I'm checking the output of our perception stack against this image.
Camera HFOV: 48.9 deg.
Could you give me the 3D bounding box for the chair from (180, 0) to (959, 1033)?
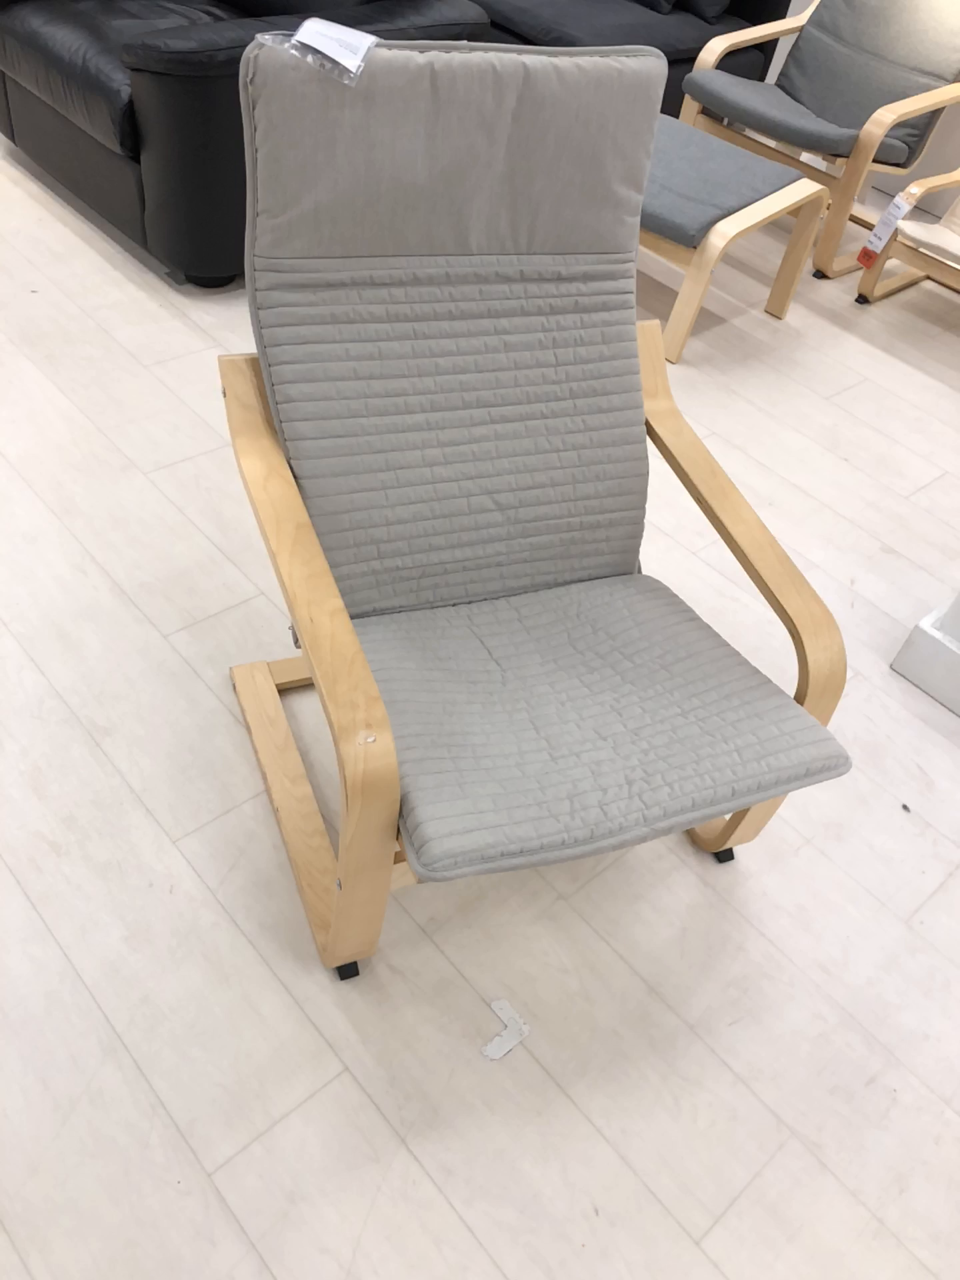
[{"bbox_3d":[0.089,-0.168,1.302,0.731,0.996,0.702,-9,47,-20],"label":"chair"}]
